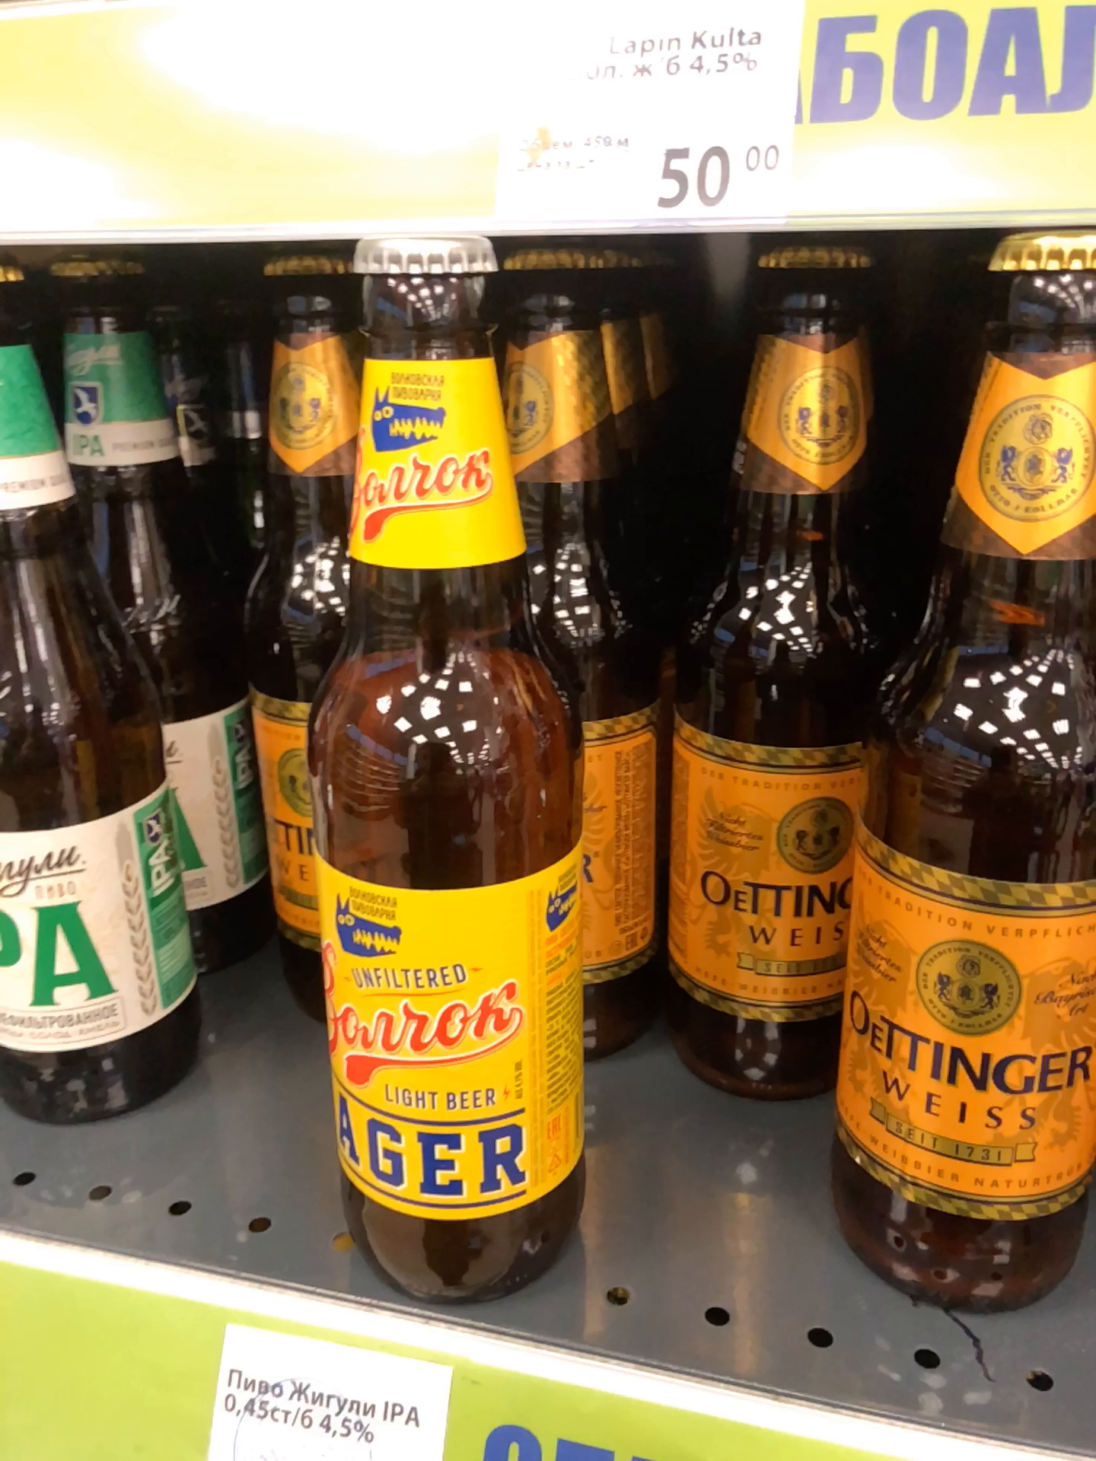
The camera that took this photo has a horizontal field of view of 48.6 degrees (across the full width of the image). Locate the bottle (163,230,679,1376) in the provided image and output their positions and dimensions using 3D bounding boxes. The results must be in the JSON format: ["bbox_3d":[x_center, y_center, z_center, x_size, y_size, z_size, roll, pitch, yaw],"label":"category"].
[{"bbox_3d":[-0.019,0.017,0.275,0.070,0.239,0.070,-1,22,0],"label":"bottle"}]
